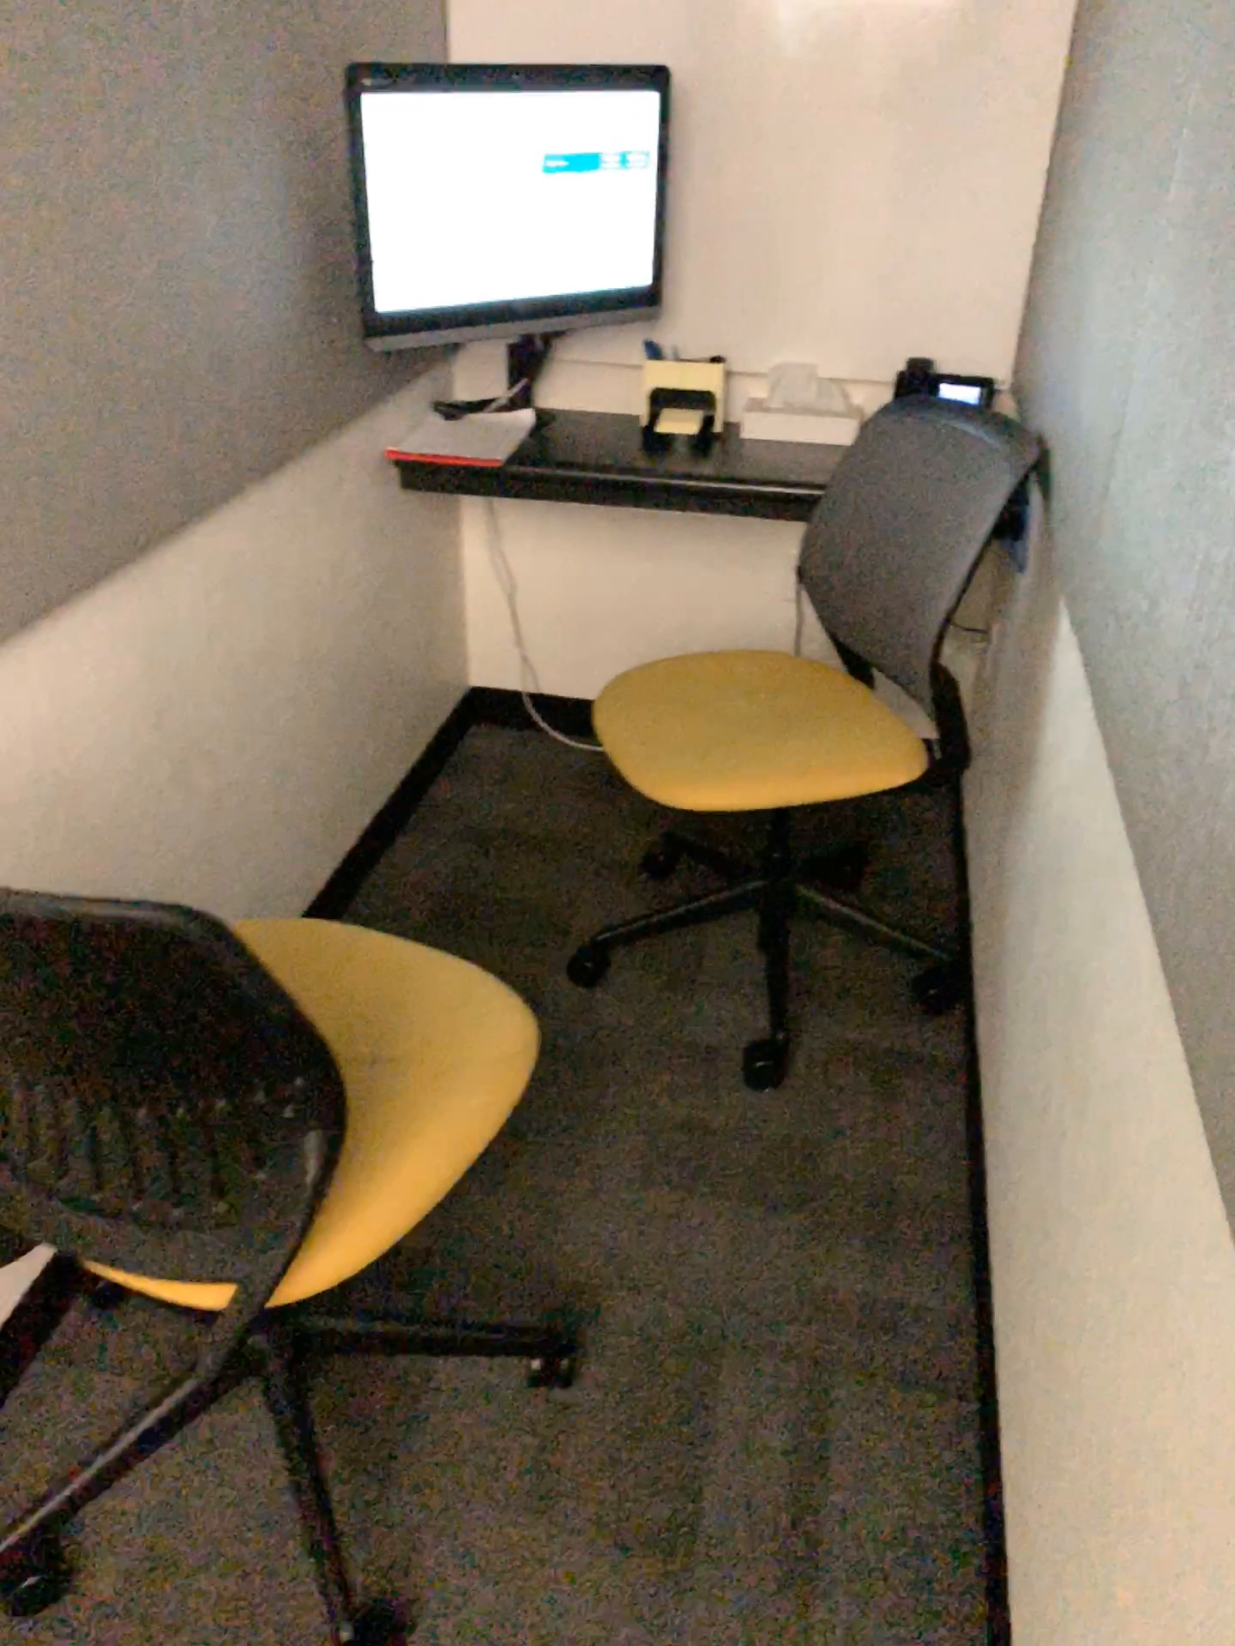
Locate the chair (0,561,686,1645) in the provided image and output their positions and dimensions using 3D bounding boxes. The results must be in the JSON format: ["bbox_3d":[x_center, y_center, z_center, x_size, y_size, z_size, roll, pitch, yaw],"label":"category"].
[{"bbox_3d":[-0.336,0.314,1.104,0.551,0.845,0.572,17,35,24],"label":"chair"}]

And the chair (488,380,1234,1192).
[{"bbox_3d":[0.378,-0.153,2.343,0.950,1.034,0.926,-12,34,-21],"label":"chair"}]
